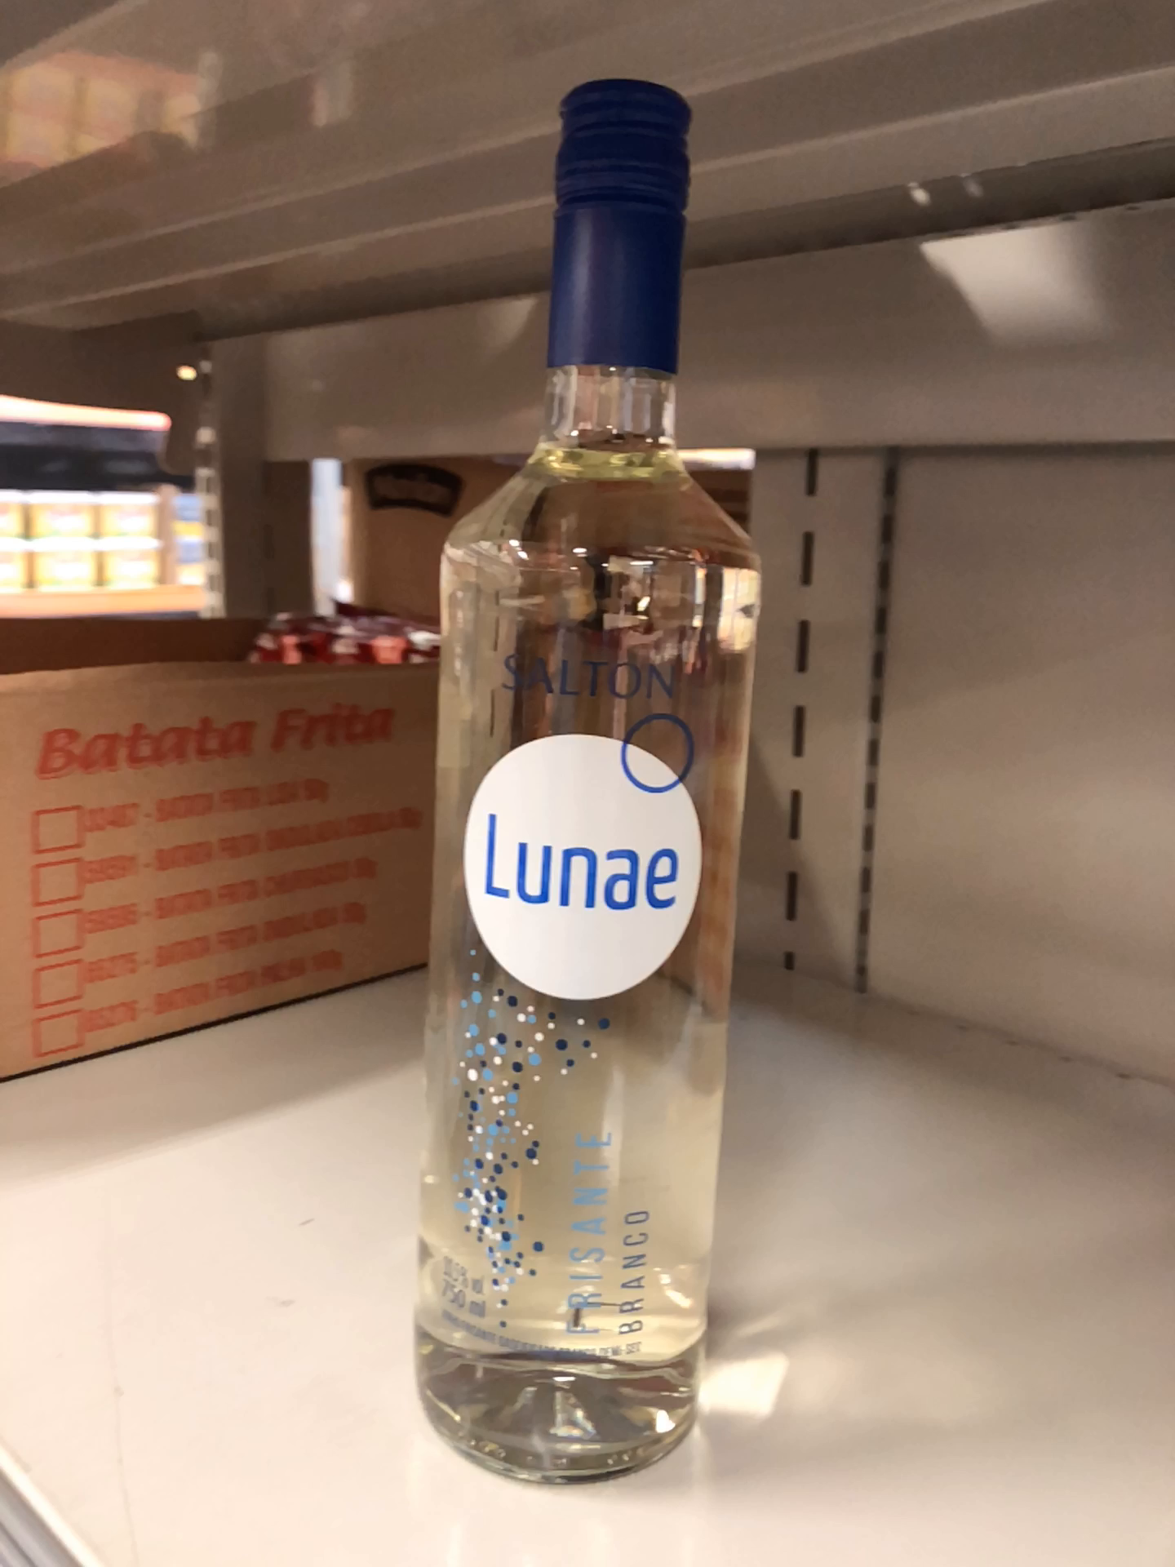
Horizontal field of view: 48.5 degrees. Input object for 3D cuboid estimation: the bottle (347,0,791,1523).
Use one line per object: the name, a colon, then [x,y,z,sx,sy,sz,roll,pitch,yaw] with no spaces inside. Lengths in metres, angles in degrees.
bottle: [0.000,0.003,0.303,0.080,0.309,0.080,0,11,0]
